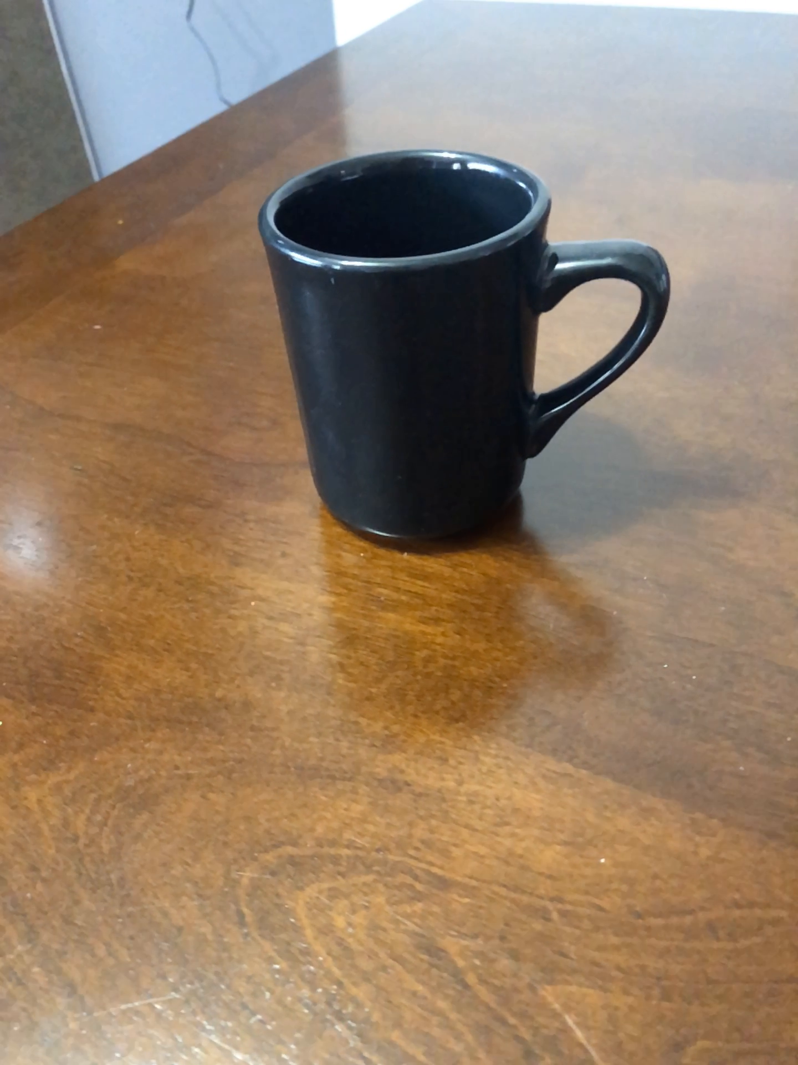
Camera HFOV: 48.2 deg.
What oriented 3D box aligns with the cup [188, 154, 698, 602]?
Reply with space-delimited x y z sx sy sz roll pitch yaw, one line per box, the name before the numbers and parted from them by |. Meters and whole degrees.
cup | 0.020 -0.051 0.268 0.120 0.090 0.090 7 43 13
